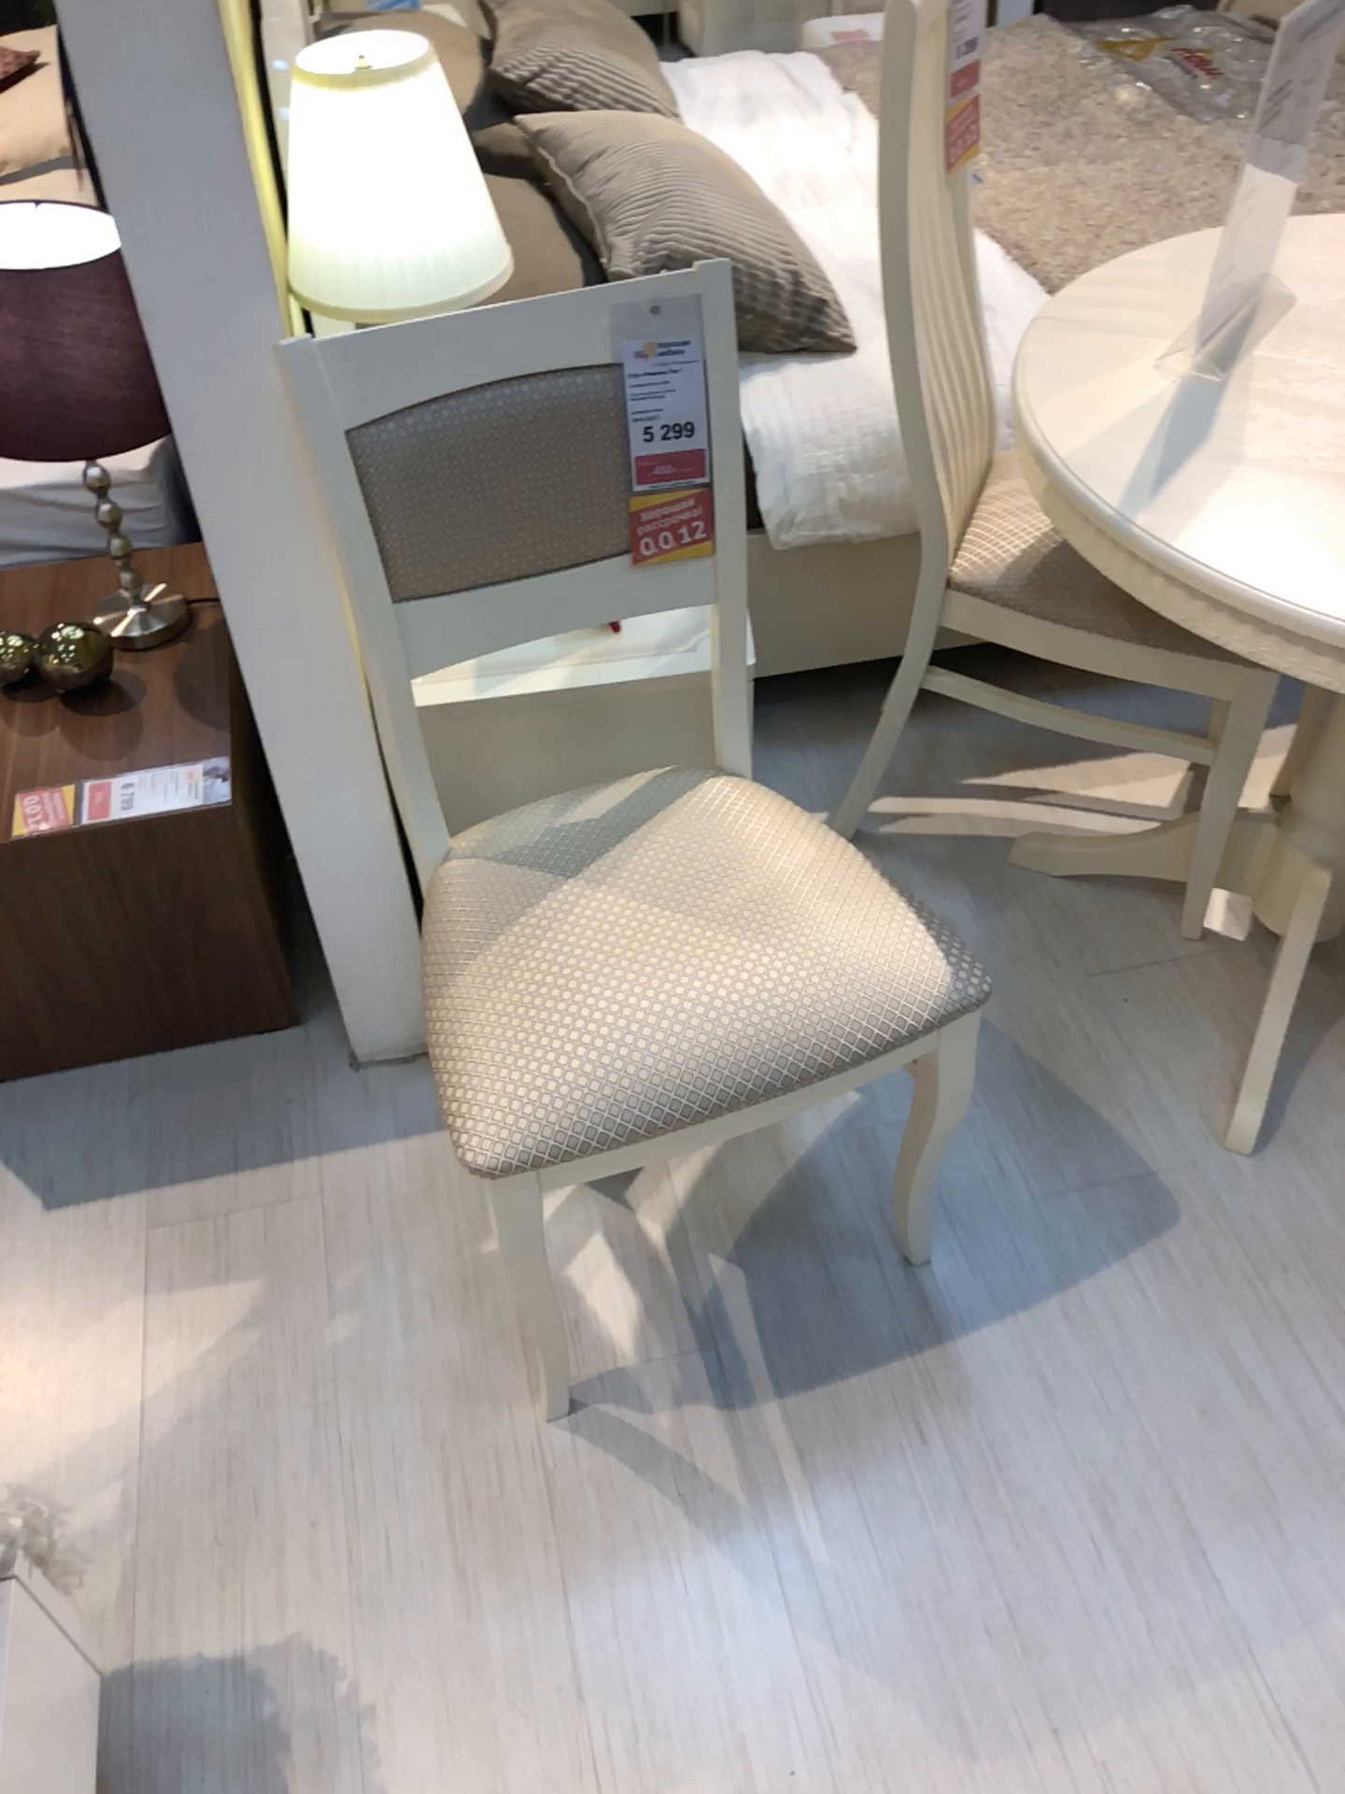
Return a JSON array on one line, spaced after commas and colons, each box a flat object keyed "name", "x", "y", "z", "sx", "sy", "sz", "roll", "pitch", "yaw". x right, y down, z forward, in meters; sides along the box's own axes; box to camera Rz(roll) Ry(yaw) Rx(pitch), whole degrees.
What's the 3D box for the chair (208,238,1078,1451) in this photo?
[{"name": "chair", "x": -0.035, "y": -0.005, "z": 1.376, "sx": 0.470, "sy": 0.946, "sz": 0.474, "roll": -18, "pitch": 46, "yaw": -16}]
